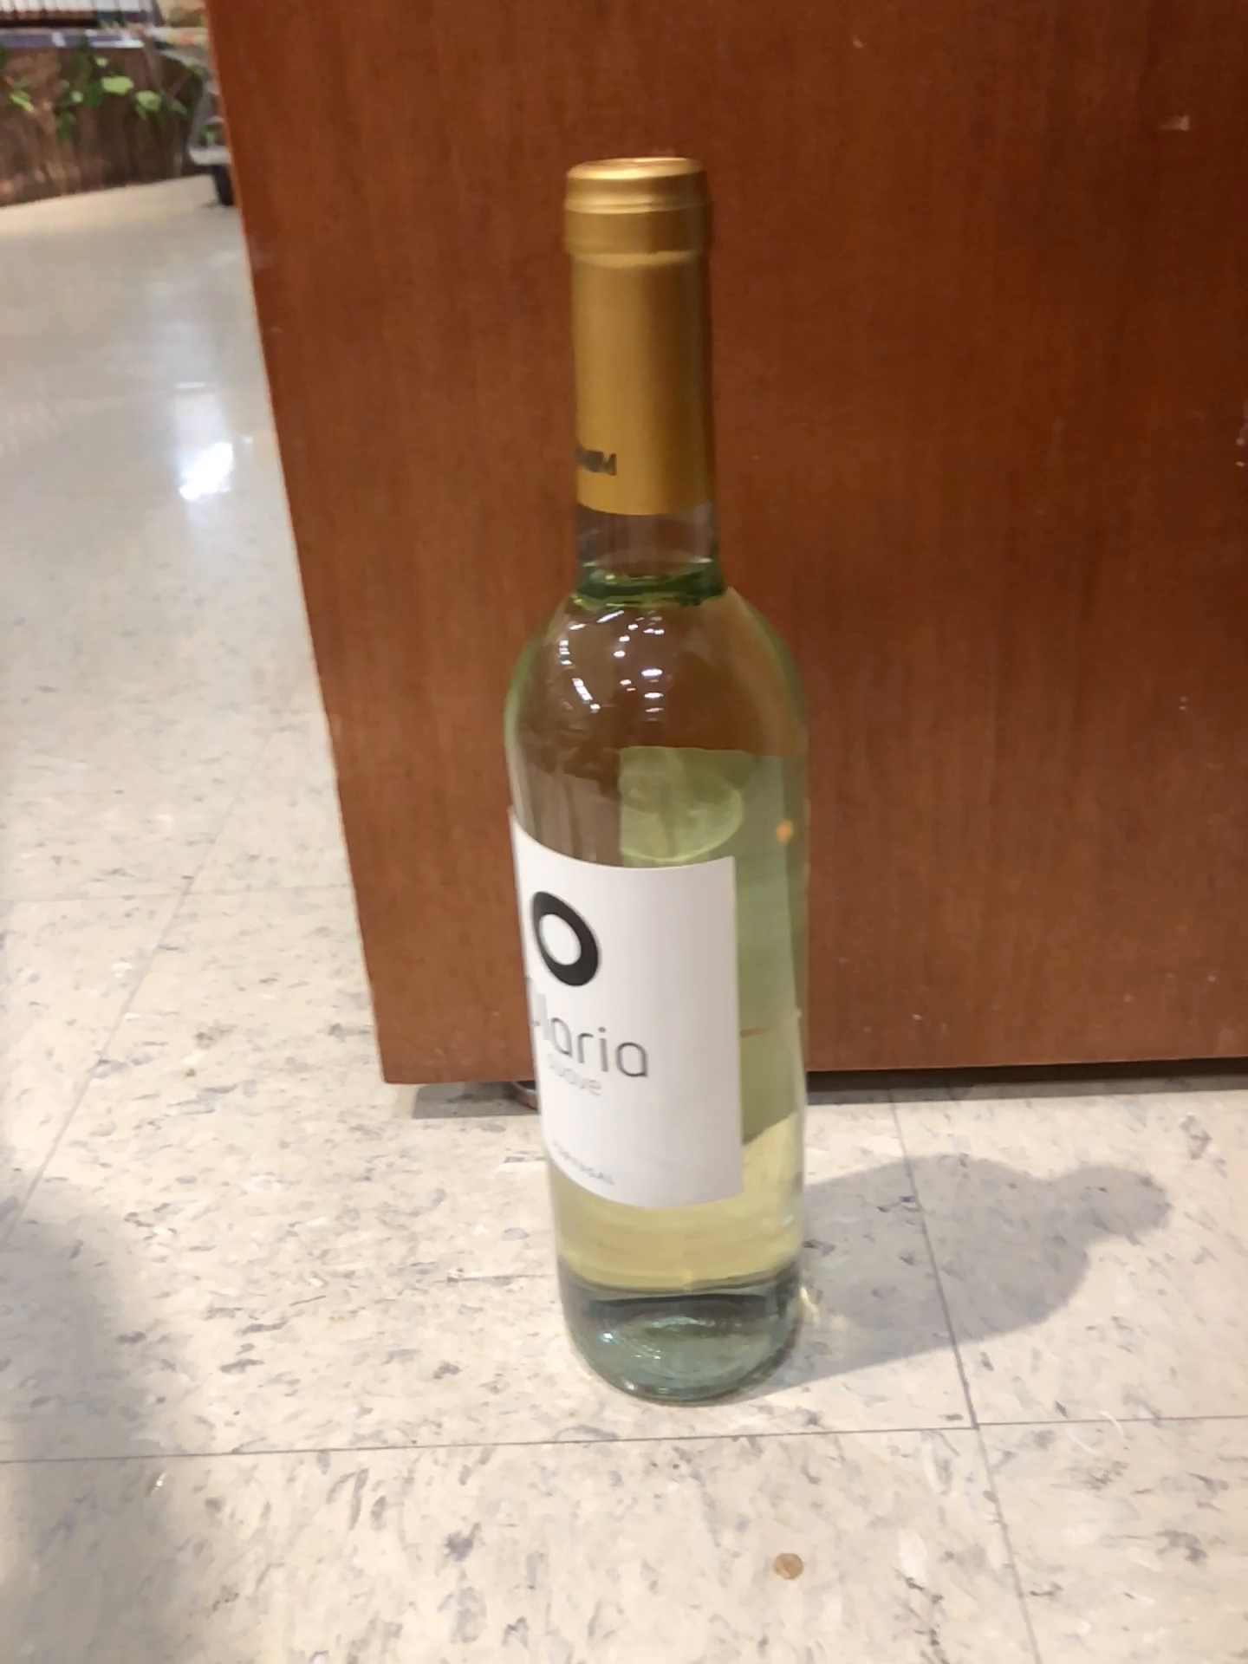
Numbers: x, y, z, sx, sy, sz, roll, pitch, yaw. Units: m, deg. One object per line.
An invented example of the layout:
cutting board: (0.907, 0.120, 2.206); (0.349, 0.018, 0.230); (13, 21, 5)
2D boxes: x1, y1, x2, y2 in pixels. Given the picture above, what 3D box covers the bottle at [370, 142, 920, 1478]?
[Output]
bottle: (0.013, 0.009, 0.342); (0.080, 0.317, 0.070); (19, 36, 36)
